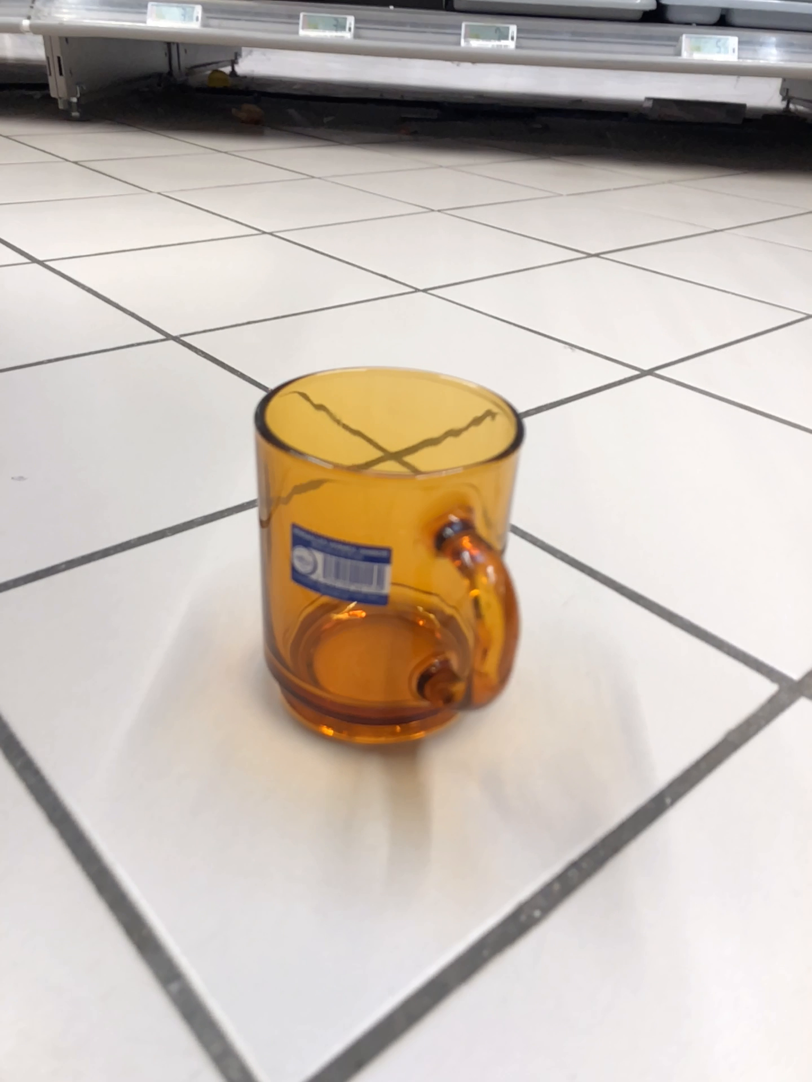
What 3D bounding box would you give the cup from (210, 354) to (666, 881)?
[{"bbox_3d":[-0.001,0.011,0.227,0.074,0.082,0.096,-9,33,-20],"label":"cup"}]
